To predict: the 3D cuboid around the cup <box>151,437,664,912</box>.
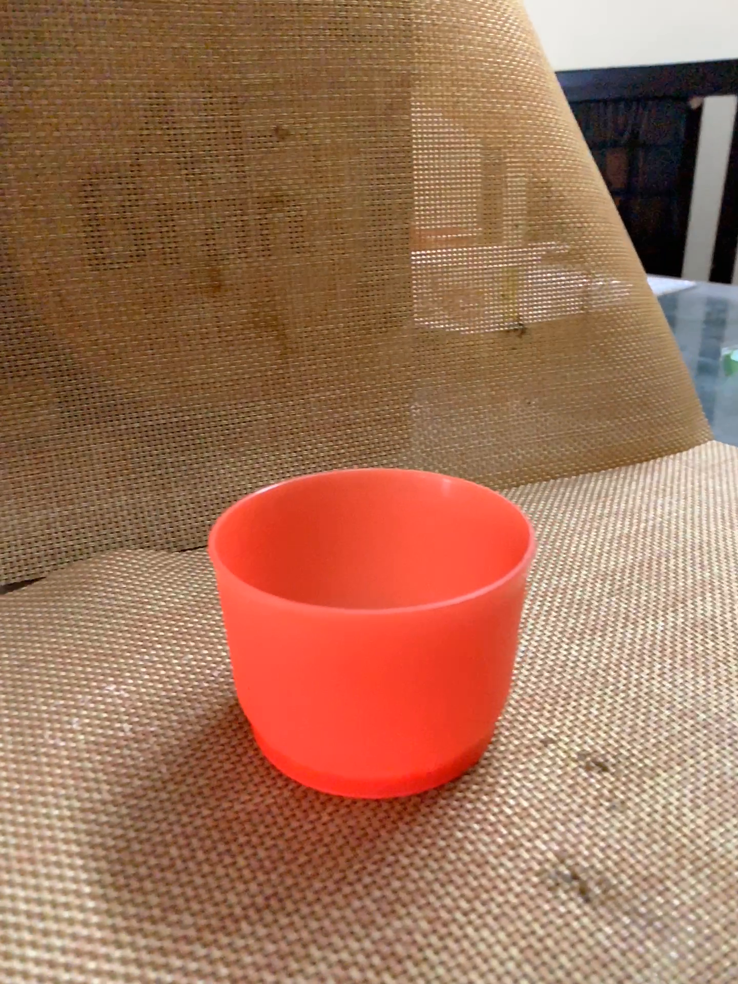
[{"bbox_3d":[0.006,0.029,0.177,0.081,0.050,0.079,-1,23,0],"label":"cup"}]
